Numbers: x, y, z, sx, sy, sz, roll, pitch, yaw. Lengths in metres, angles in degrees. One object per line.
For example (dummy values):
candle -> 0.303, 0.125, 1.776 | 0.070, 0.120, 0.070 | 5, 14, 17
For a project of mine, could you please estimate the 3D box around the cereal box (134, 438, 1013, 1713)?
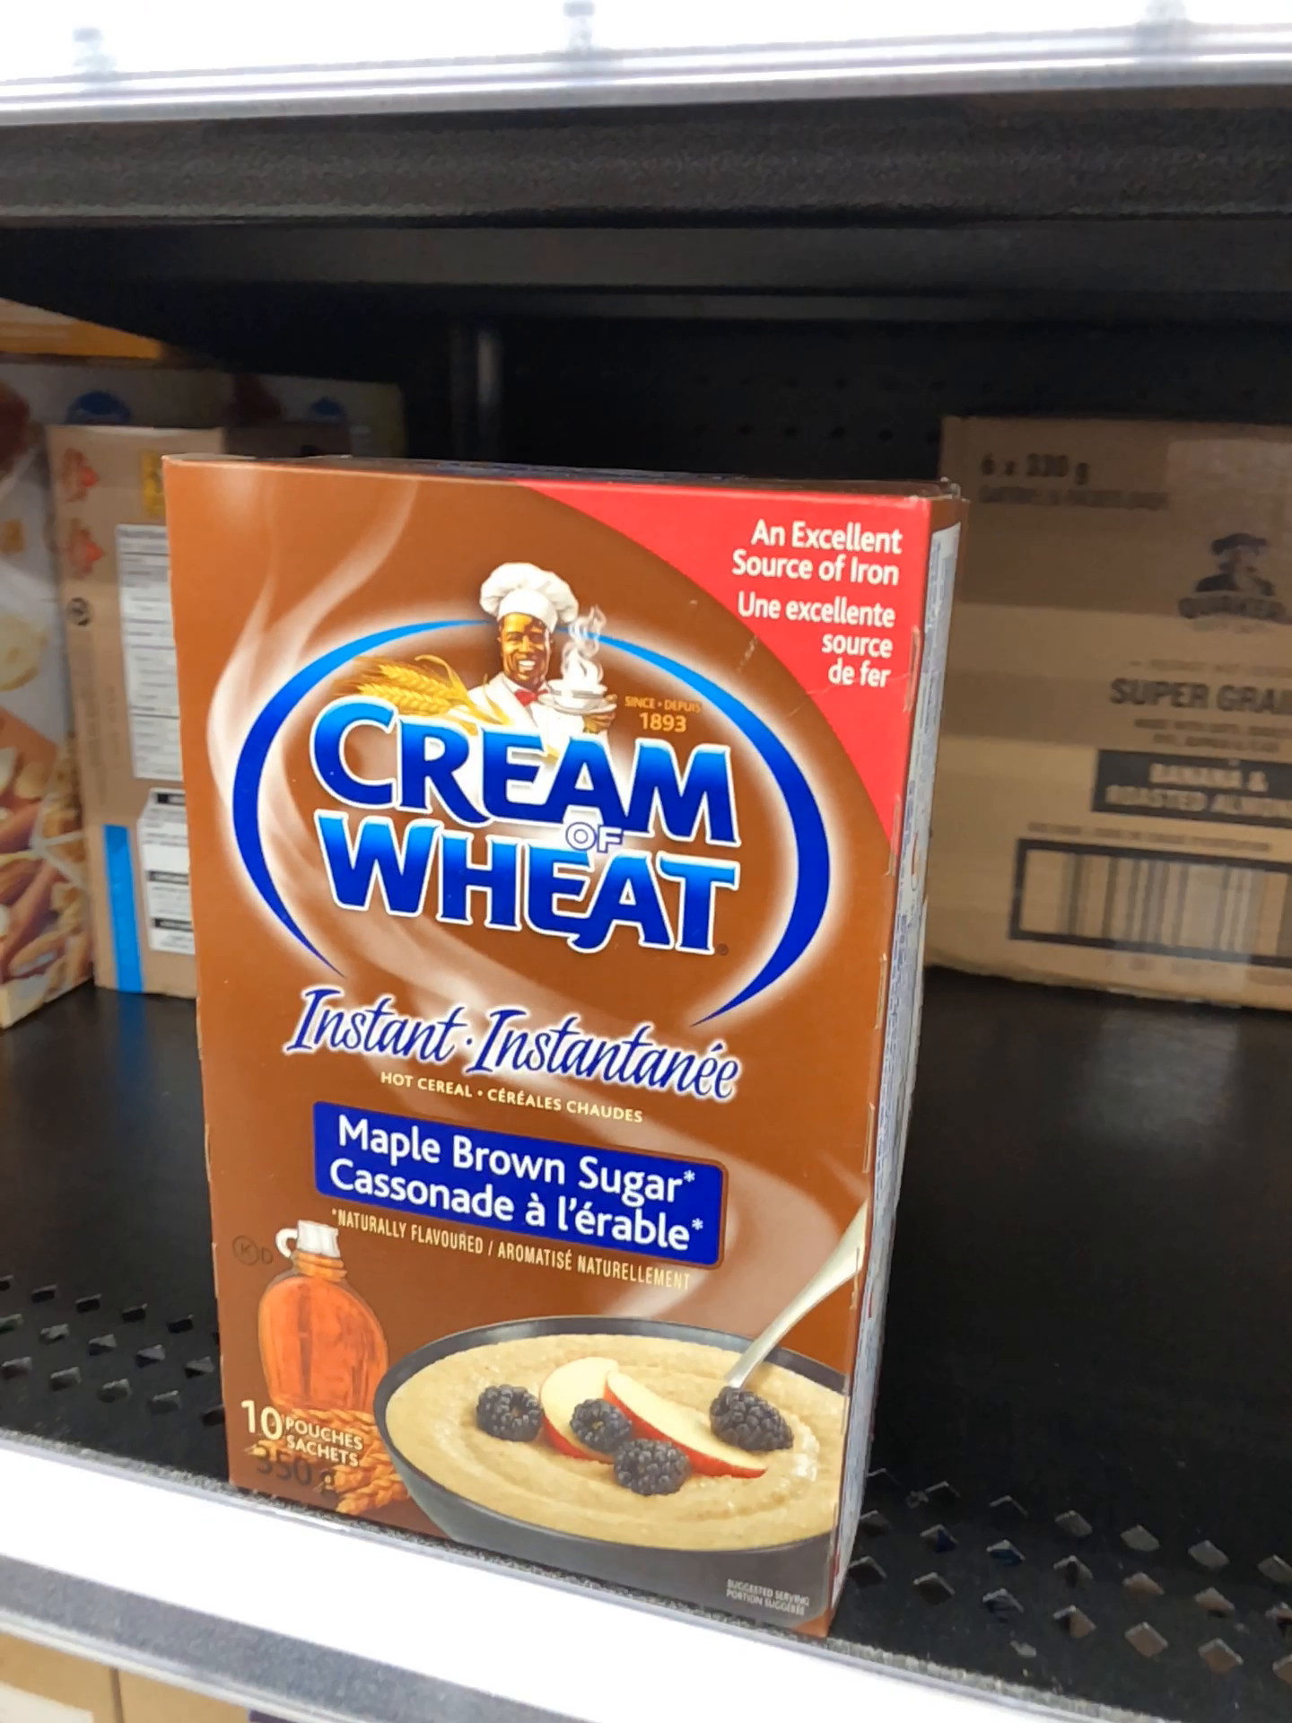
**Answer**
cereal box -> -0.011, 0.034, 0.265 | 0.130, 0.209, 0.060 | 6, 18, 15
